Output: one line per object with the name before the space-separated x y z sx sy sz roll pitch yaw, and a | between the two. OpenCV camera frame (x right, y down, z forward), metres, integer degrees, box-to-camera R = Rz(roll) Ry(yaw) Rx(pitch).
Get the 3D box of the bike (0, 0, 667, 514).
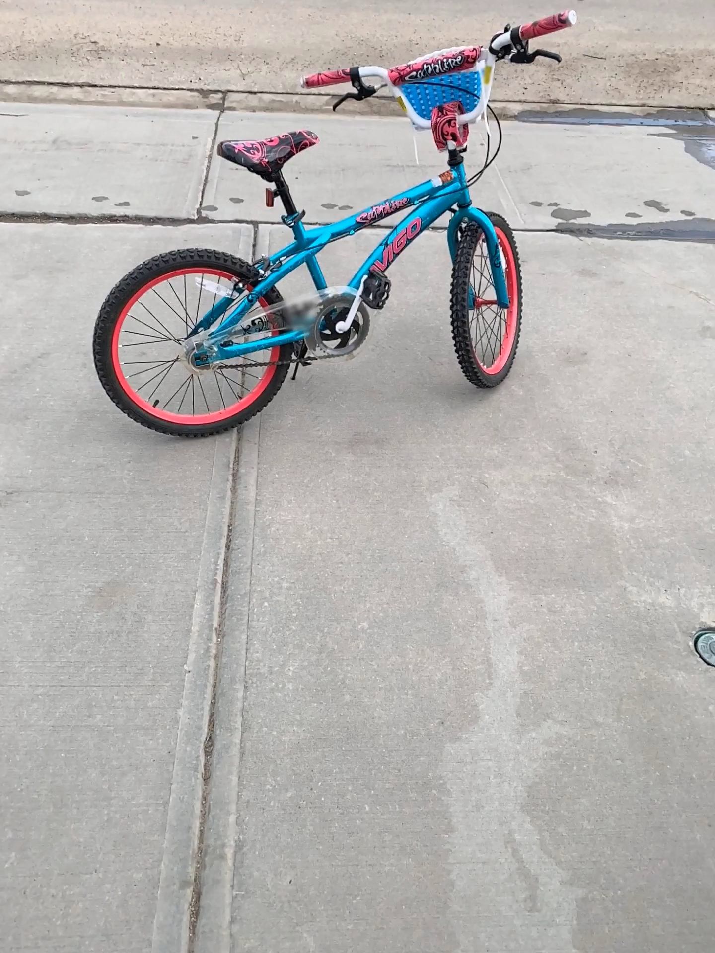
bike | -0.086 -0.712 1.861 1.256 0.946 0.748 -20 49 -20
